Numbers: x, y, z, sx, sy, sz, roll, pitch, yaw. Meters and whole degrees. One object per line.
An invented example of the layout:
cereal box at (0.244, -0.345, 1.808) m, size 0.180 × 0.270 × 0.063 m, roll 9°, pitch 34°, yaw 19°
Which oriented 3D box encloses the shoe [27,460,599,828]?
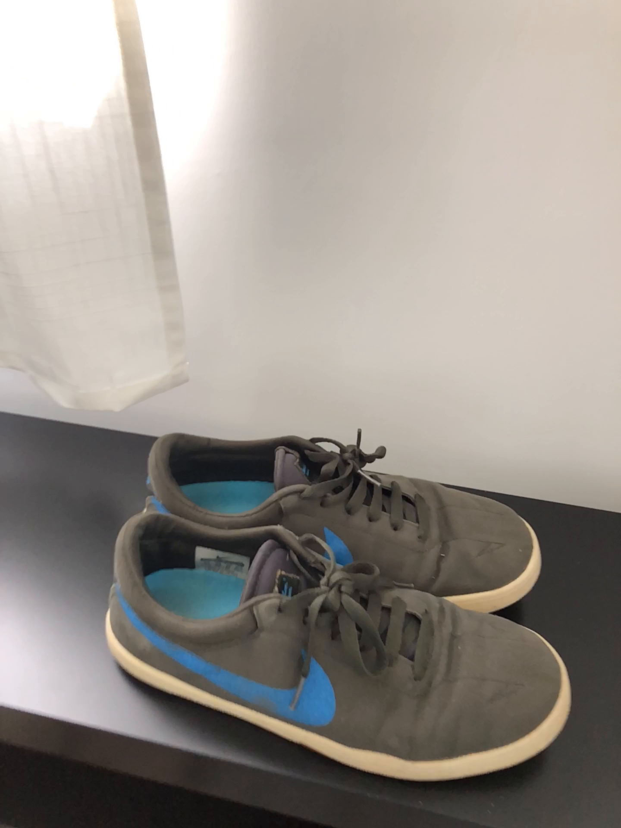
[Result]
shoe at (0.002, 0.126, 0.397) m, size 0.280 × 0.110 × 0.100 m, roll 10°, pitch 38°, yaw 12°

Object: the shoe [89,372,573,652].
shoe at (0.013, 0.061, 0.466) m, size 0.280 × 0.110 × 0.100 m, roll 7°, pitch 38°, yaw 8°
